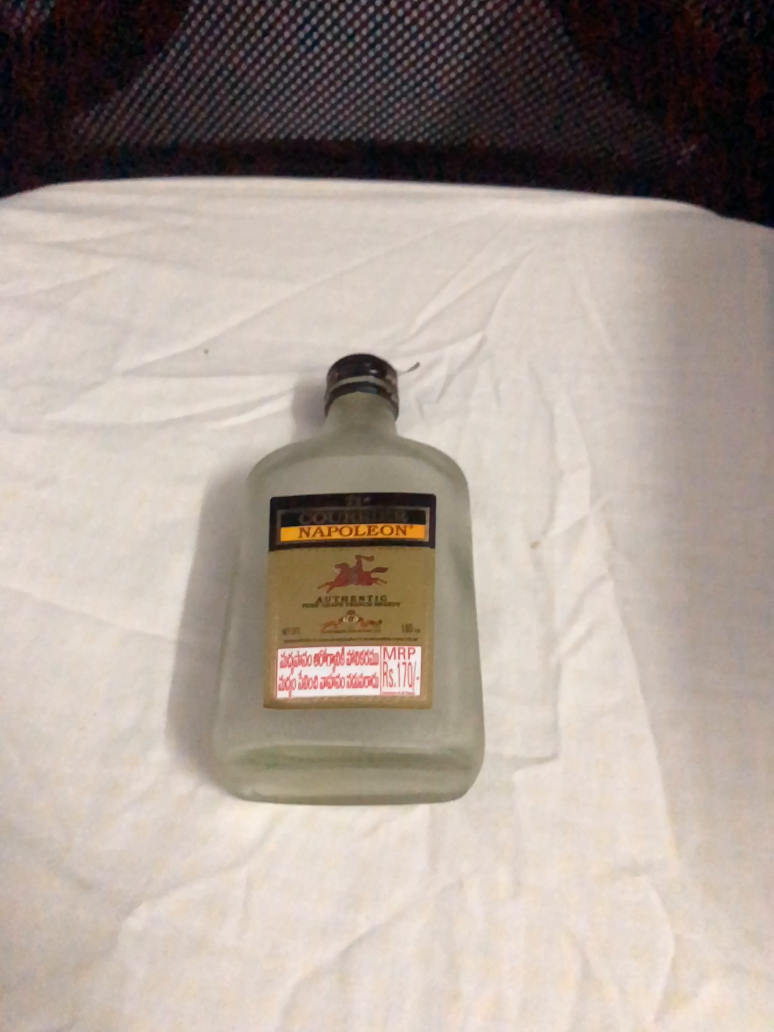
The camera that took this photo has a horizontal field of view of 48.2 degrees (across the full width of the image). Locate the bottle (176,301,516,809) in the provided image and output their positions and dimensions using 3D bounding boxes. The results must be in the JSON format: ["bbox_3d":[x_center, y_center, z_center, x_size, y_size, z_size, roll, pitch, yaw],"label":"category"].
[{"bbox_3d":[-0.009,0.003,0.267,0.080,0.040,0.160,1,54,0],"label":"bottle"}]
